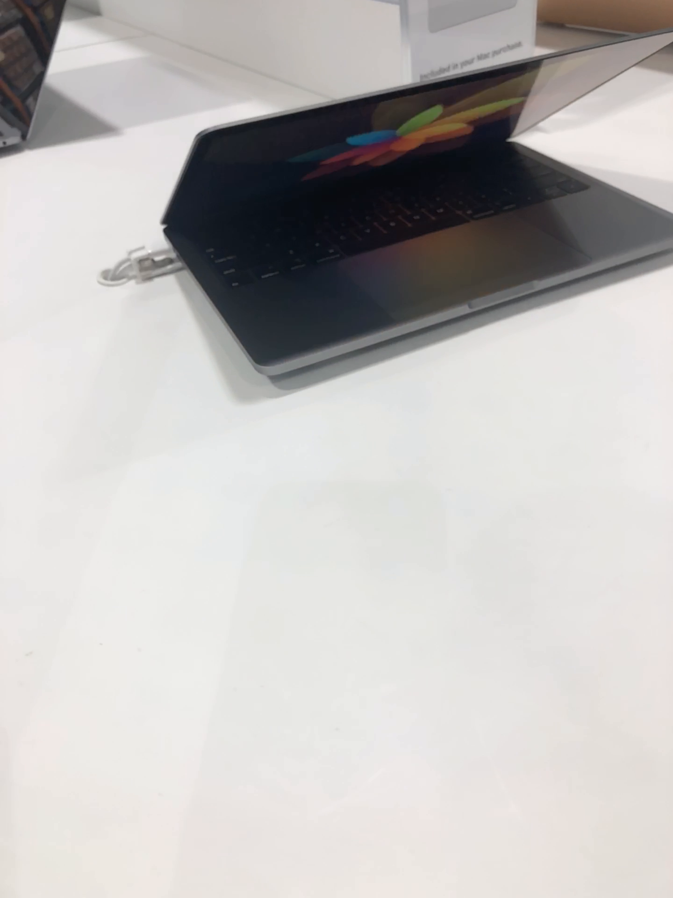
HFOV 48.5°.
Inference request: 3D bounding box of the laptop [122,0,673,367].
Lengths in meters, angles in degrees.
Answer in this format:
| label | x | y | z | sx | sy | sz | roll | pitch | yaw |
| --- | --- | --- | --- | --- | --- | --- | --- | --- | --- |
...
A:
| label | x | y | z | sx | sy | sz | roll | pitch | yaw |
| --- | --- | --- | --- | --- | --- | --- | --- | --- | --- |
| laptop | 0.048 | -0.190 | 0.467 | 0.296 | 0.109 | 0.211 | -20 | 42 | -16 |
